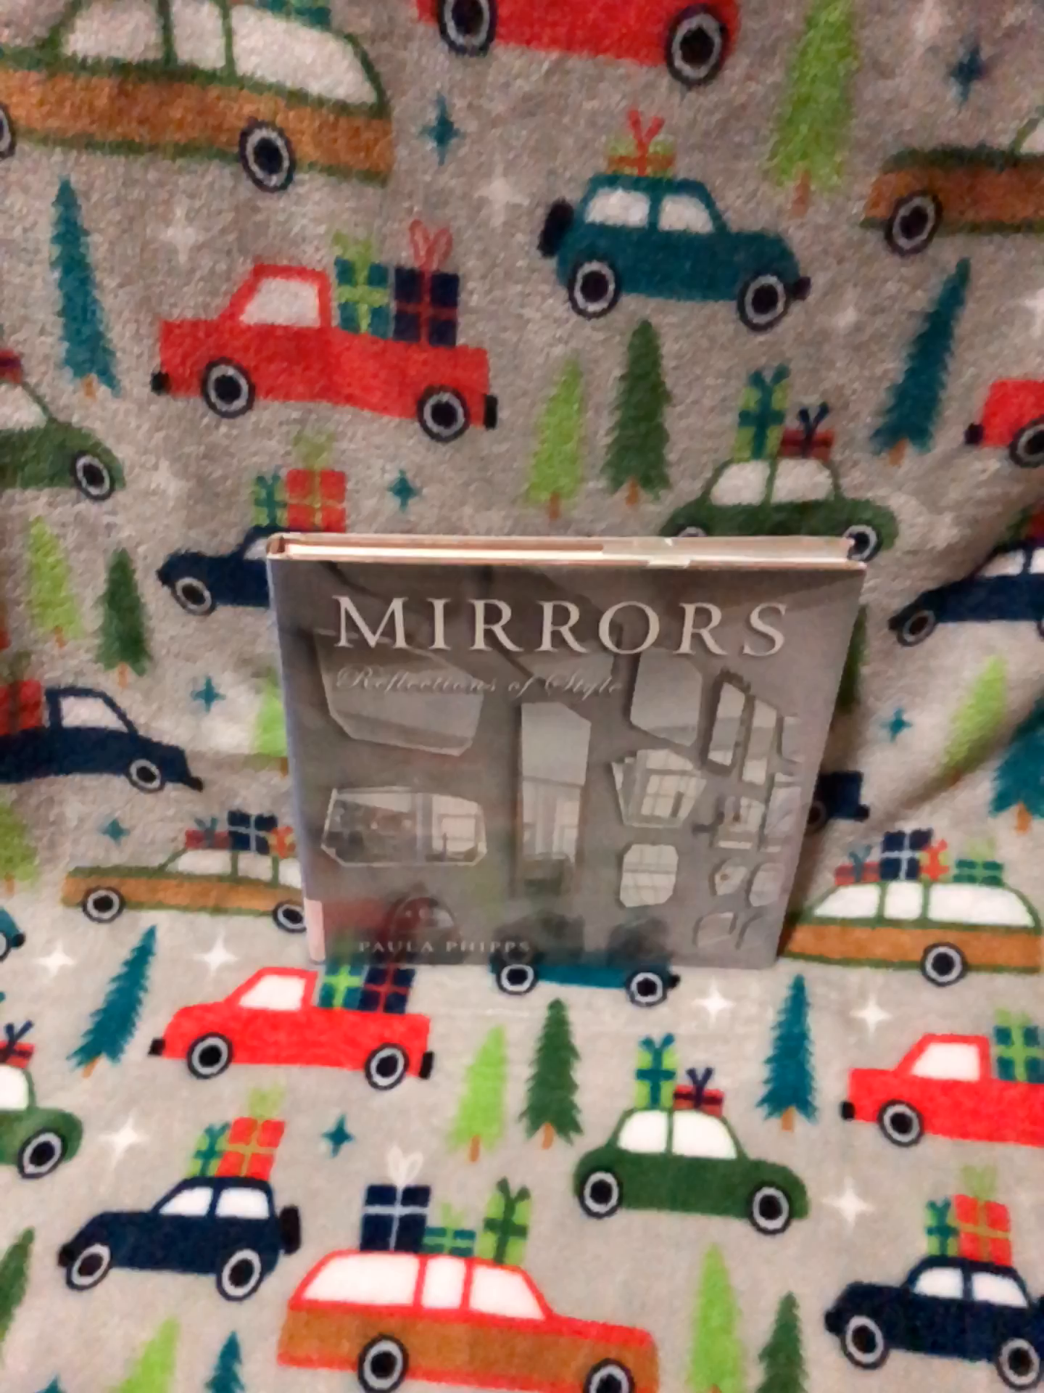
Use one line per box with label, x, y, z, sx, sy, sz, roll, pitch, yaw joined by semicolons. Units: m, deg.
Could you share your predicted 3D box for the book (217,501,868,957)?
book;0.004;0.024;0.470;0.222;0.208;0.030;1;37;-2
